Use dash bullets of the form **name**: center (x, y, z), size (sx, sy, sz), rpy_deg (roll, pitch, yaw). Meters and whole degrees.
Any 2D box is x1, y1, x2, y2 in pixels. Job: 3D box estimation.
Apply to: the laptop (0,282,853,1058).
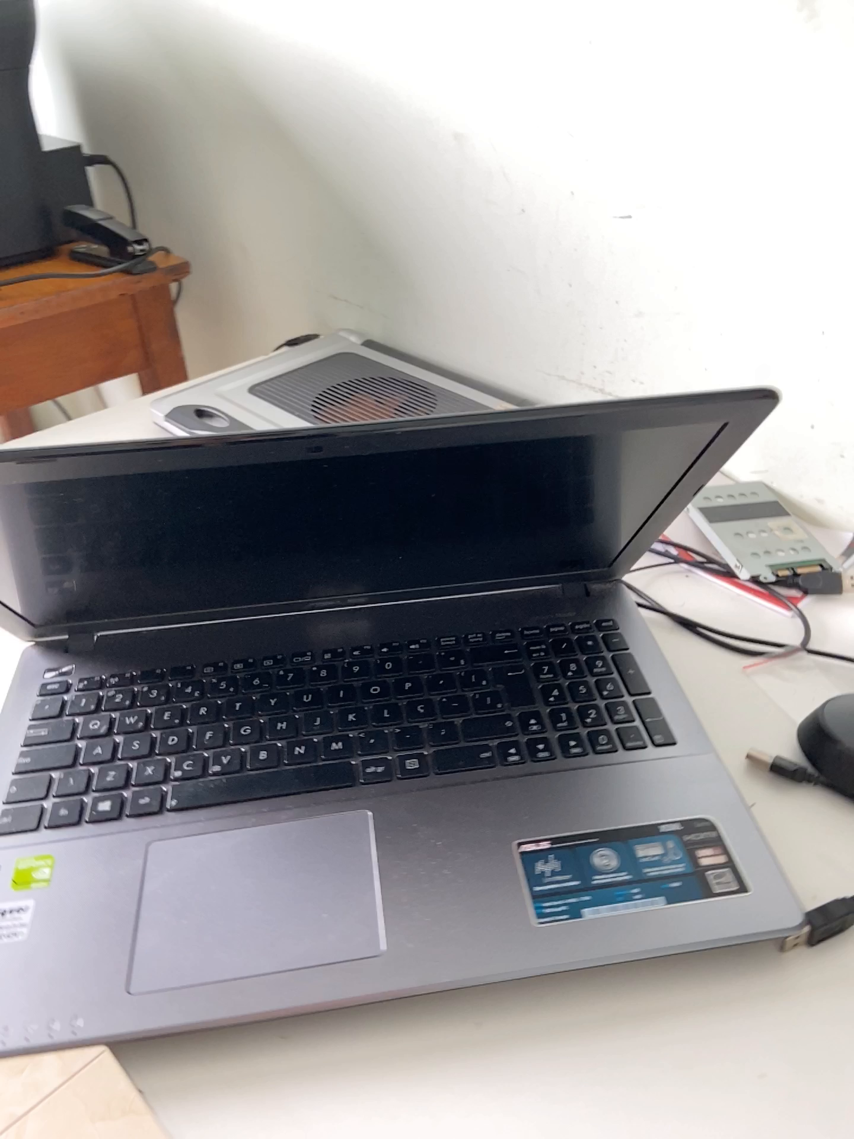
- **laptop**: center (-0.047, 0.017, 0.398), size (0.364, 0.190, 0.246), rpy_deg (-6, 36, -6)
